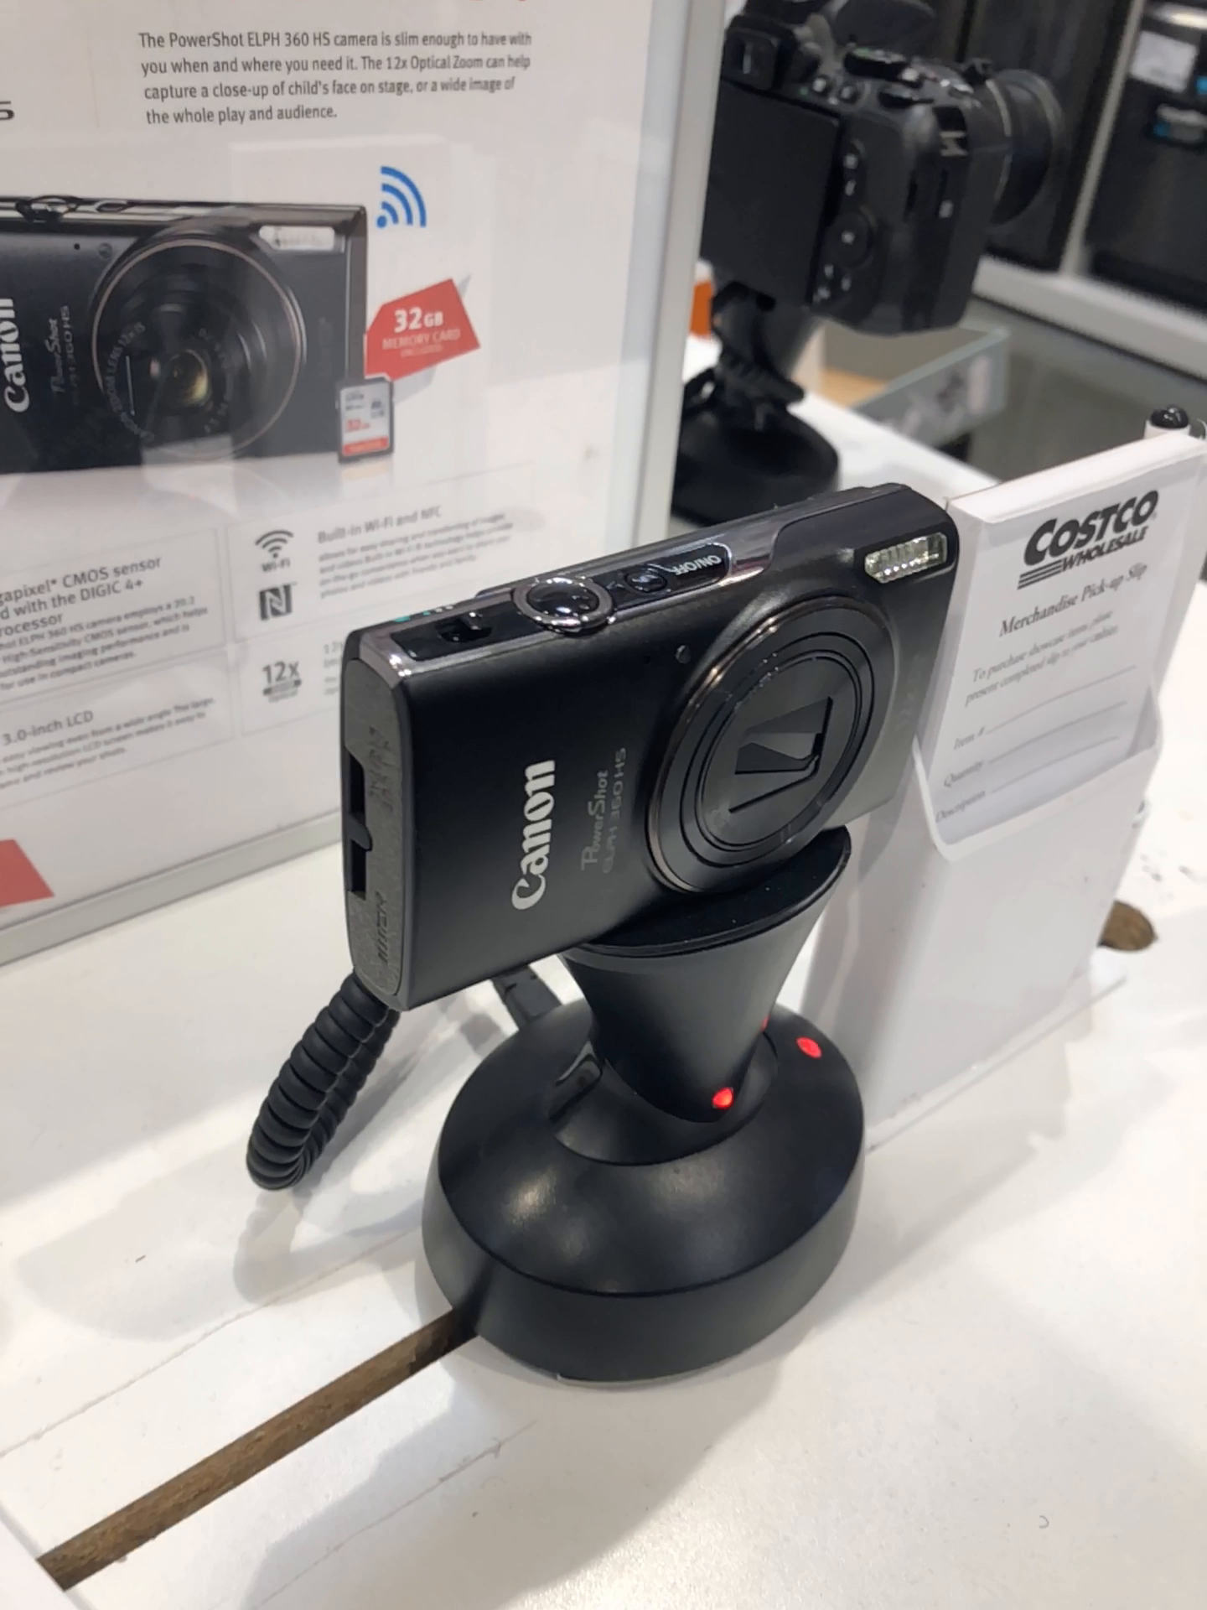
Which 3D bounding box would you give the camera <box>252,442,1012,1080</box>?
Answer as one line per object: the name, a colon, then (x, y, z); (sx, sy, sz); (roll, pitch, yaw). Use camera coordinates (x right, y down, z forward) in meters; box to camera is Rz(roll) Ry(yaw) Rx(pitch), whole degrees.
camera: (0.007, -0.012, 0.203); (0.110, 0.060, 0.030); (-21, 44, -32)
